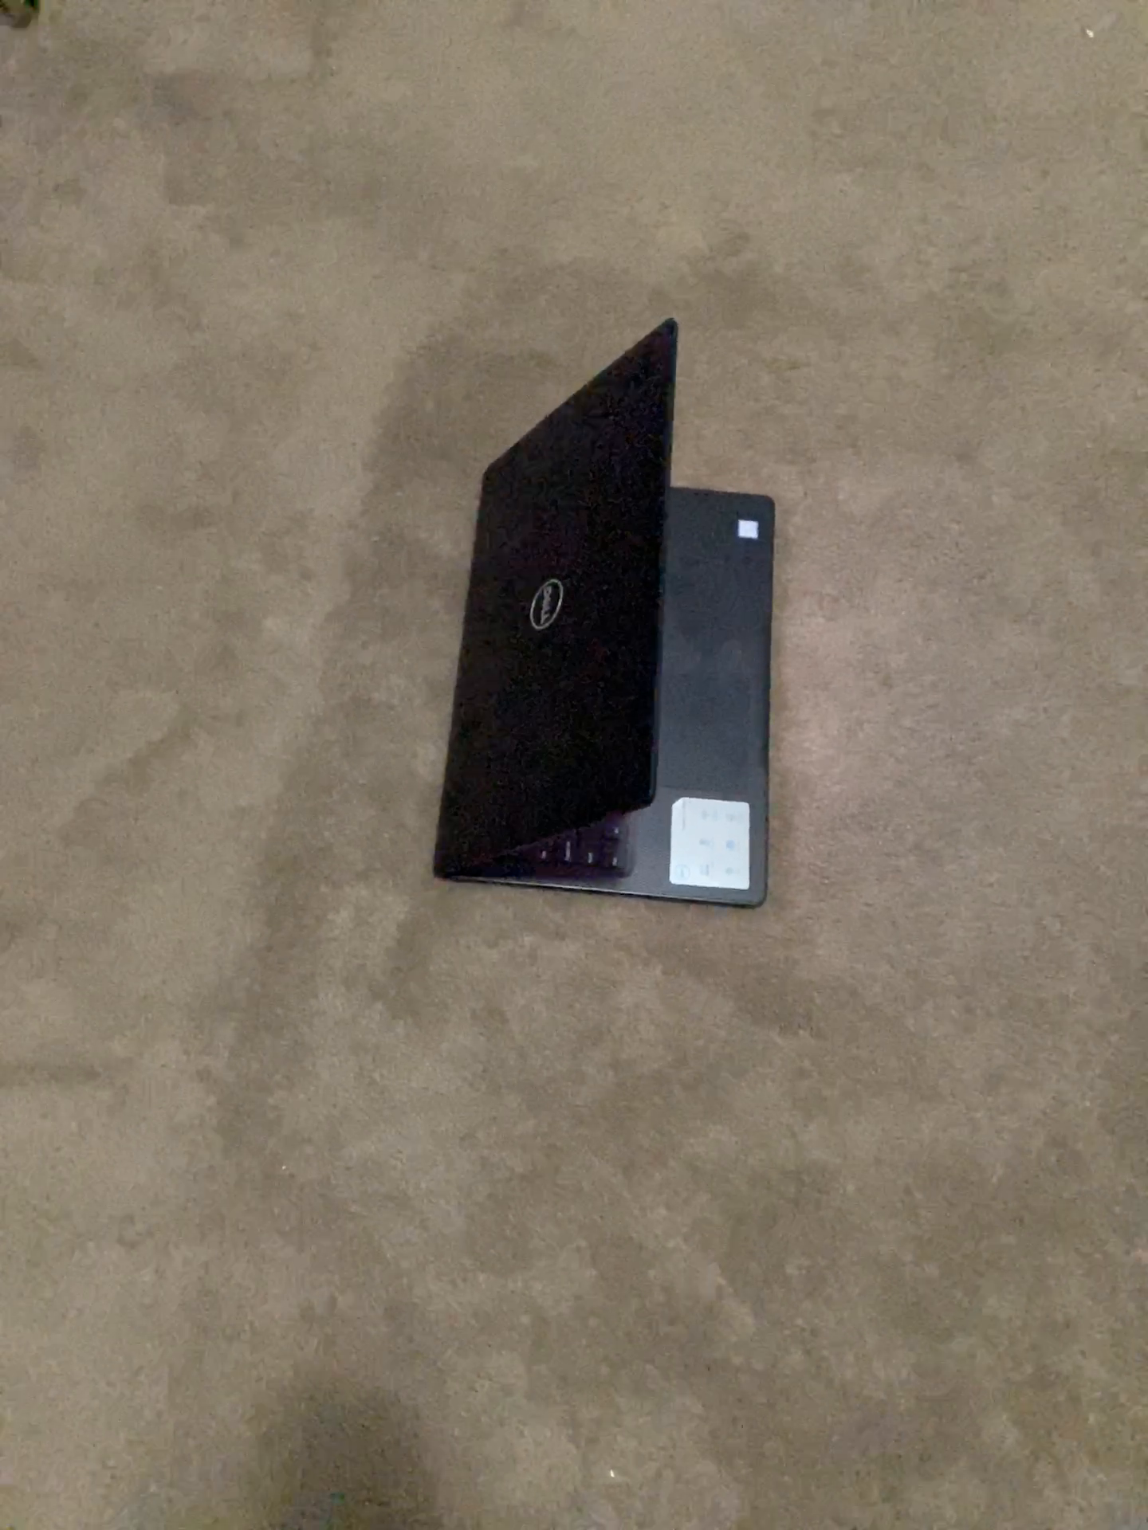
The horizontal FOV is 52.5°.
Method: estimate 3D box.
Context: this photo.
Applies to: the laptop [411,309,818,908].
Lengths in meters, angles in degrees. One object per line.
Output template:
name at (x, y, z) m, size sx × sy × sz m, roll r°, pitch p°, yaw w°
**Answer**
laptop at (0.038, -0.112, 0.883) m, size 0.251 × 0.202 × 0.377 m, roll 6°, pitch 67°, yaw -1°
